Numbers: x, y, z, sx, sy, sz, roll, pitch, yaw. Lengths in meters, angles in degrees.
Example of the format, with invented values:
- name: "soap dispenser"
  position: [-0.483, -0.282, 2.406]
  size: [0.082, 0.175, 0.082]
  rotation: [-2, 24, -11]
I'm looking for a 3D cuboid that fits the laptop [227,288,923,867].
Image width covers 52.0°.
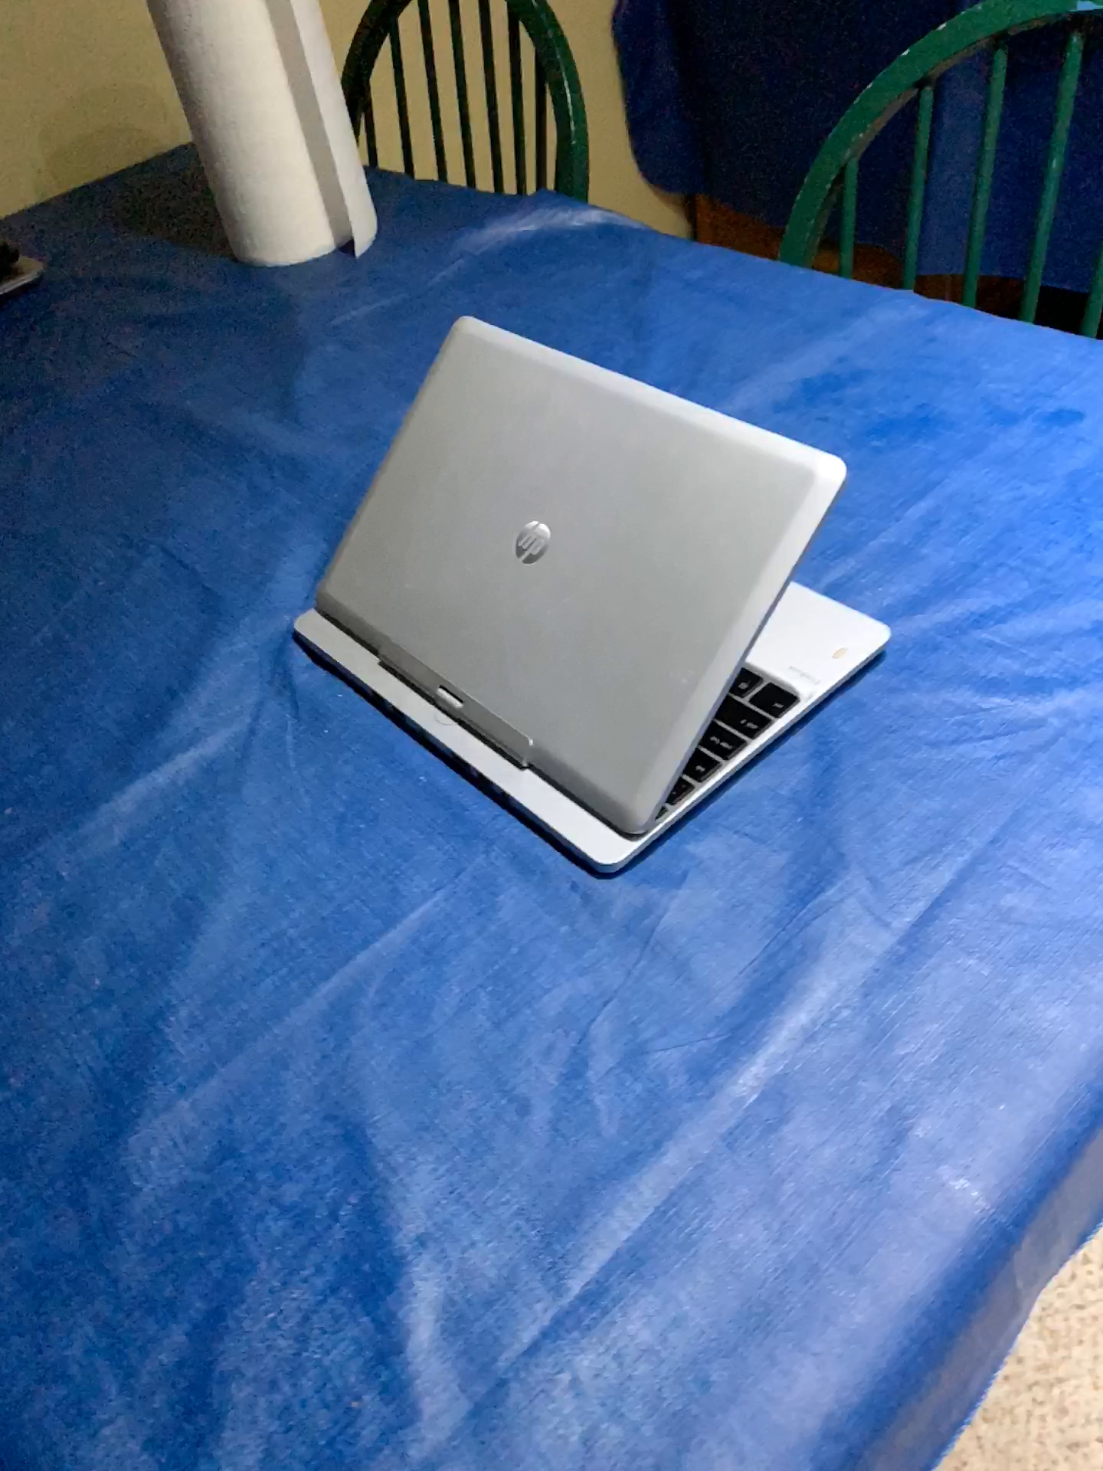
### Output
- name: "laptop"
  position: [0.007, -0.104, 0.594]
  size: [0.208, 0.122, 0.281]
  rotation: [-36, 49, -22]
